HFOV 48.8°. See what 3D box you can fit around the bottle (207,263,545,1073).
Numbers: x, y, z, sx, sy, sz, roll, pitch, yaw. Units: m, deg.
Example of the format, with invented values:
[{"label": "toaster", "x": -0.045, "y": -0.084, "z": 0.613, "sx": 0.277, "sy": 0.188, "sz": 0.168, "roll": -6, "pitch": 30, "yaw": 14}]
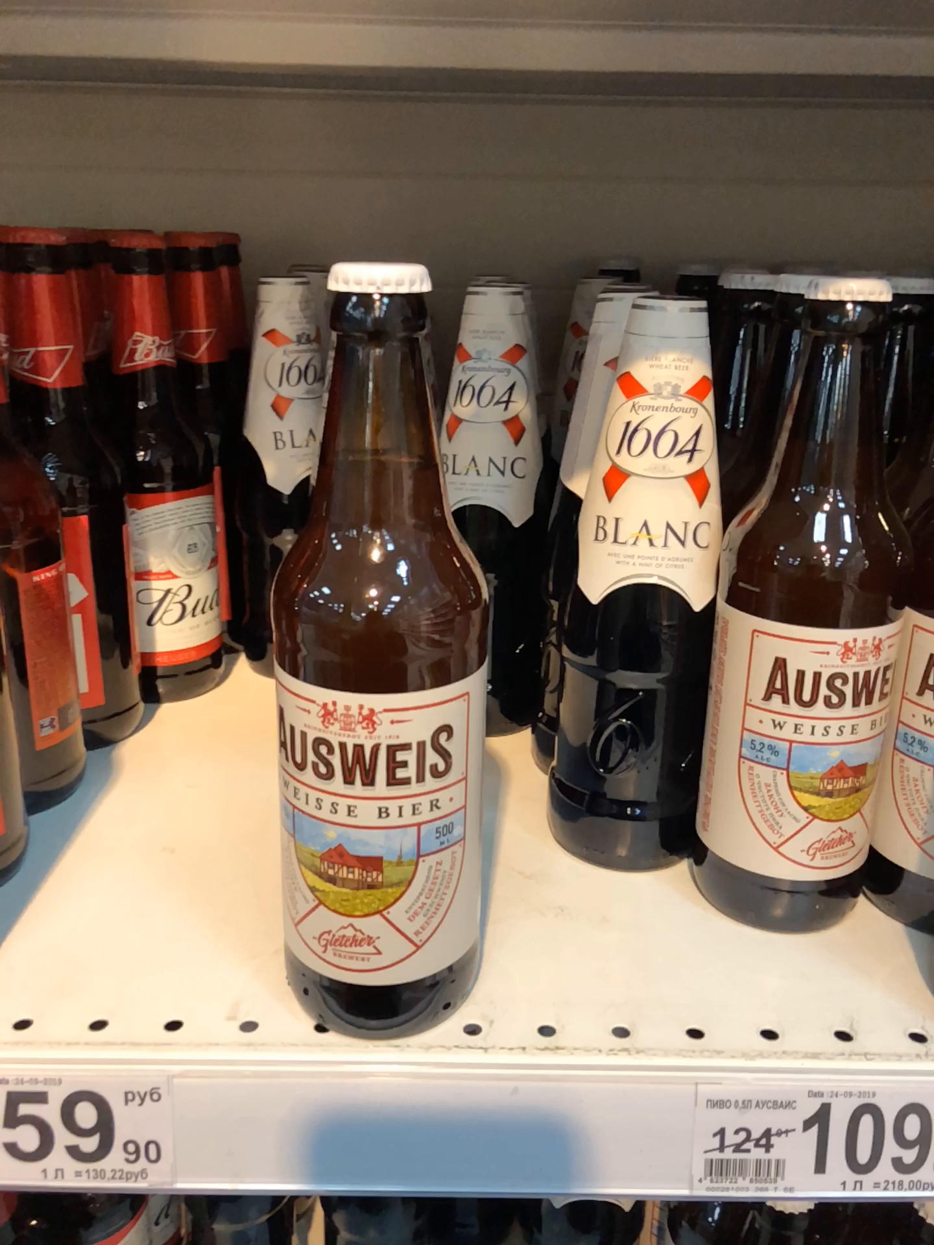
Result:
[{"label": "bottle", "x": -0.024, "y": 0.015, "z": 0.338, "sx": 0.080, "sy": 0.249, "sz": 0.070, "roll": 5, "pitch": 19, "yaw": 12}]
